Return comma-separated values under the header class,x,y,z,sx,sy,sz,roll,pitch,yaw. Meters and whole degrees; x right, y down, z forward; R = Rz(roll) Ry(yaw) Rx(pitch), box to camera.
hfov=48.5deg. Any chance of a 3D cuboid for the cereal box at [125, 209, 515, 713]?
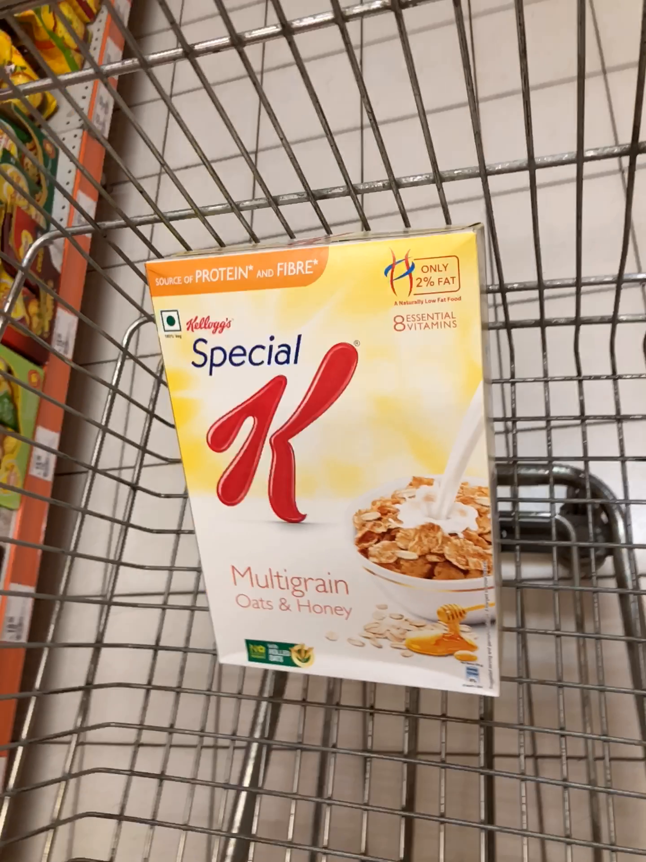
class,x,y,z,sx,sy,sz,roll,pitch,yaw
cereal box,0.012,0.018,0.435,0.190,0.090,0.269,0,109,19
